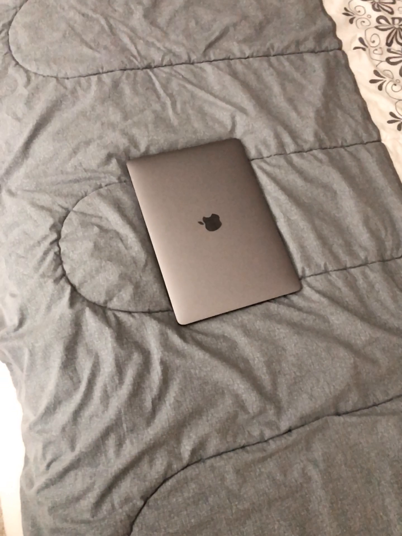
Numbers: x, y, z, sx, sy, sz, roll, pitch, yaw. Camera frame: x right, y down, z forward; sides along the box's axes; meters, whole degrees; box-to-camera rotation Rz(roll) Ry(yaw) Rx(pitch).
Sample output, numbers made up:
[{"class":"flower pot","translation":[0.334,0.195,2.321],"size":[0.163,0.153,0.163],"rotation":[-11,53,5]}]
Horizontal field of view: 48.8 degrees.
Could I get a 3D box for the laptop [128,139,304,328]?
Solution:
[{"class":"laptop","translation":[0.020,-0.071,0.736],"size":[0.207,0.008,0.295],"rotation":[-16,72,-12]}]
